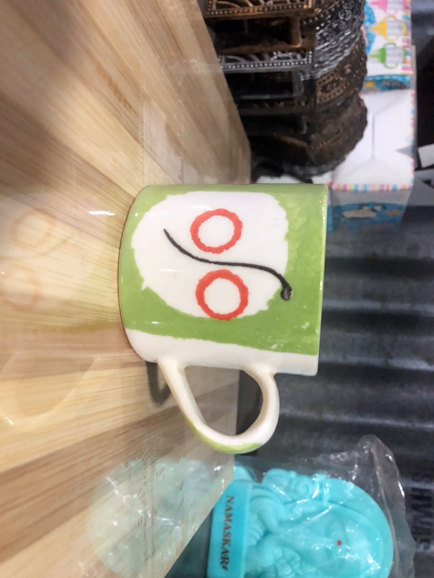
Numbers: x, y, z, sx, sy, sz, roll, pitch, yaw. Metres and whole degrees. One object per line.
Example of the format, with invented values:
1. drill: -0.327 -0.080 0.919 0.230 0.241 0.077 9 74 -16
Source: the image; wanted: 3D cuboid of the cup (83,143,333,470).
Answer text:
1. cup: 0.005 0.008 0.185 0.070 0.070 0.100 55 39 -72
